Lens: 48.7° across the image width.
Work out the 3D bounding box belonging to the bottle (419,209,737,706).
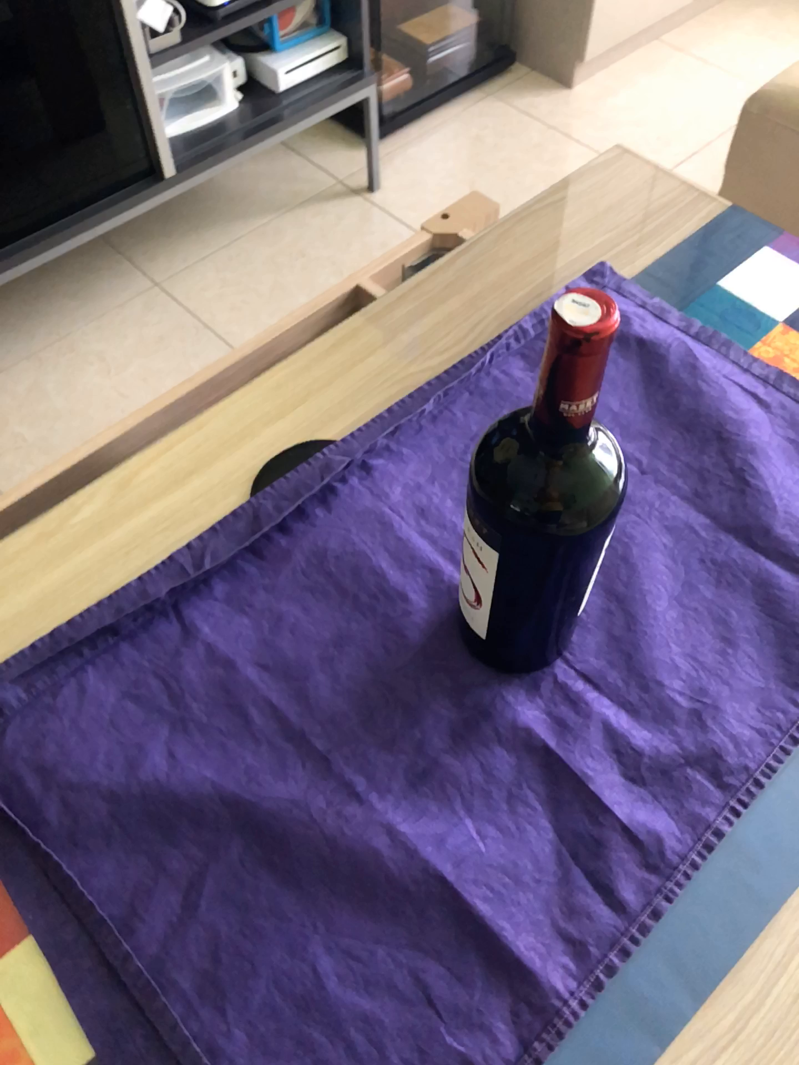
[{"bbox_3d":[0.073,-0.018,0.471,0.090,0.269,0.090,0,56,0],"label":"bottle"}]
